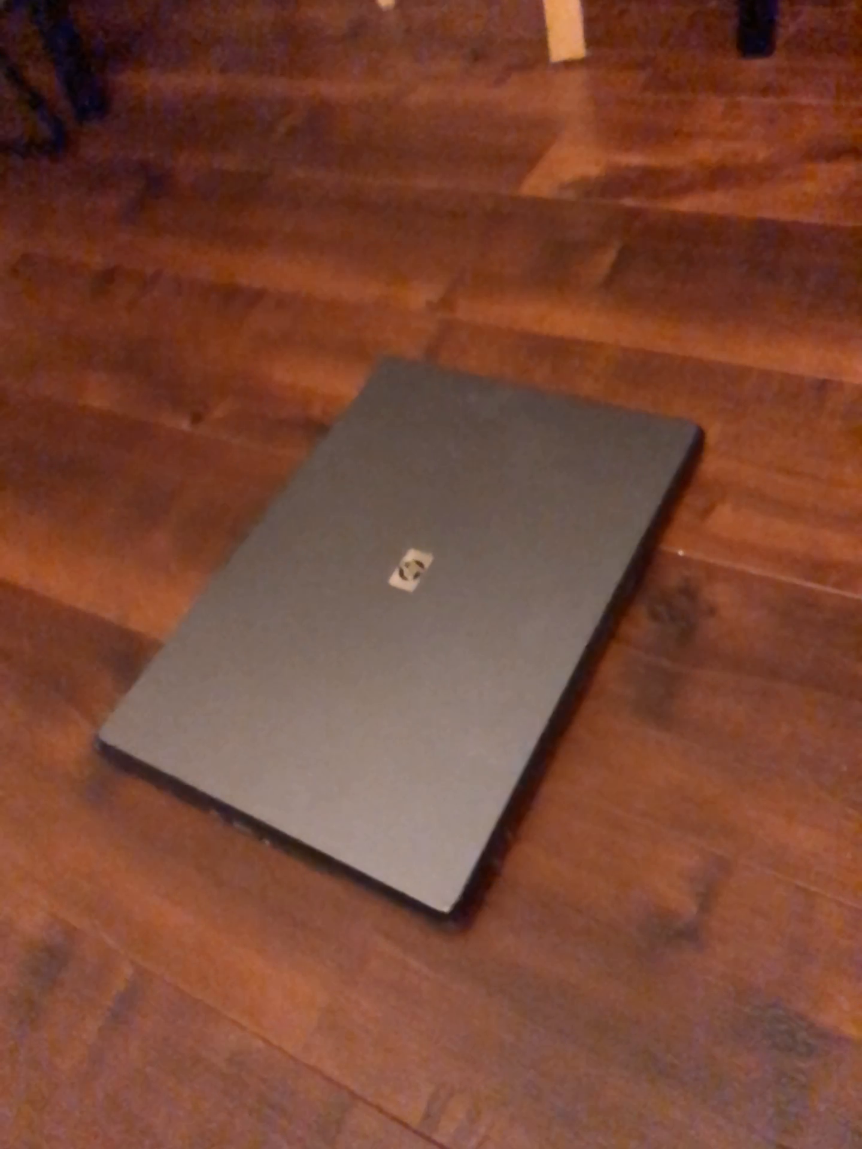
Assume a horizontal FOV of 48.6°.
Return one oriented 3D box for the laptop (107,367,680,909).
[{"bbox_3d":[-0.013,0.003,0.551,0.216,0.005,0.310,17,59,26],"label":"laptop"}]
